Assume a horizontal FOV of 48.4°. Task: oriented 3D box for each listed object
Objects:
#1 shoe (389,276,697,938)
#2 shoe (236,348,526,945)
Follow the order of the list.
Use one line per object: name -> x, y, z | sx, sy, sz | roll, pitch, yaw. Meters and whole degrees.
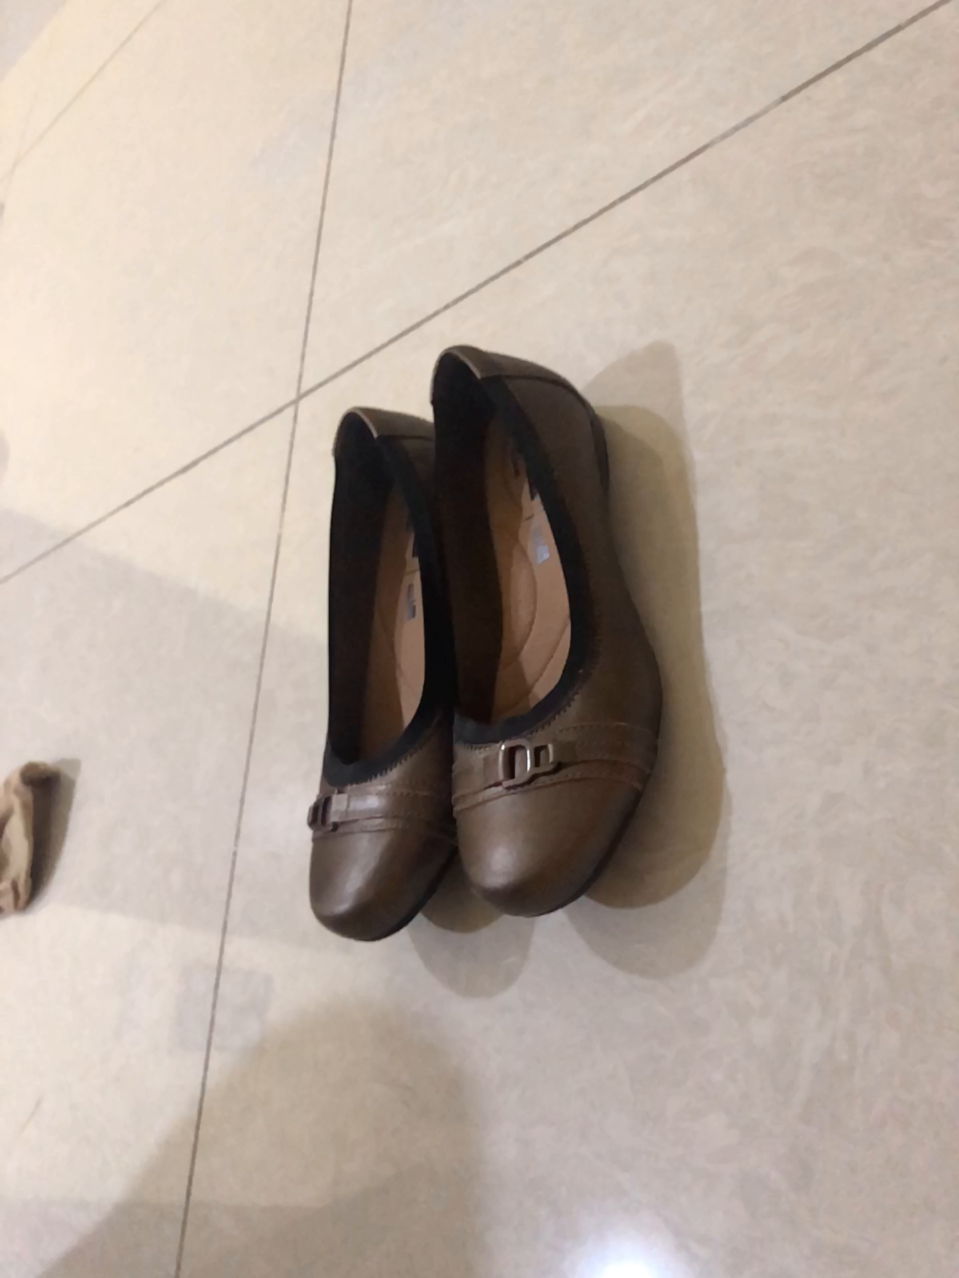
shoe -> 0.023, -0.016, 0.454 | 0.091, 0.070, 0.260 | -22, 55, 37
shoe -> -0.042, 0.003, 0.509 | 0.101, 0.050, 0.270 | -15, 60, 41
